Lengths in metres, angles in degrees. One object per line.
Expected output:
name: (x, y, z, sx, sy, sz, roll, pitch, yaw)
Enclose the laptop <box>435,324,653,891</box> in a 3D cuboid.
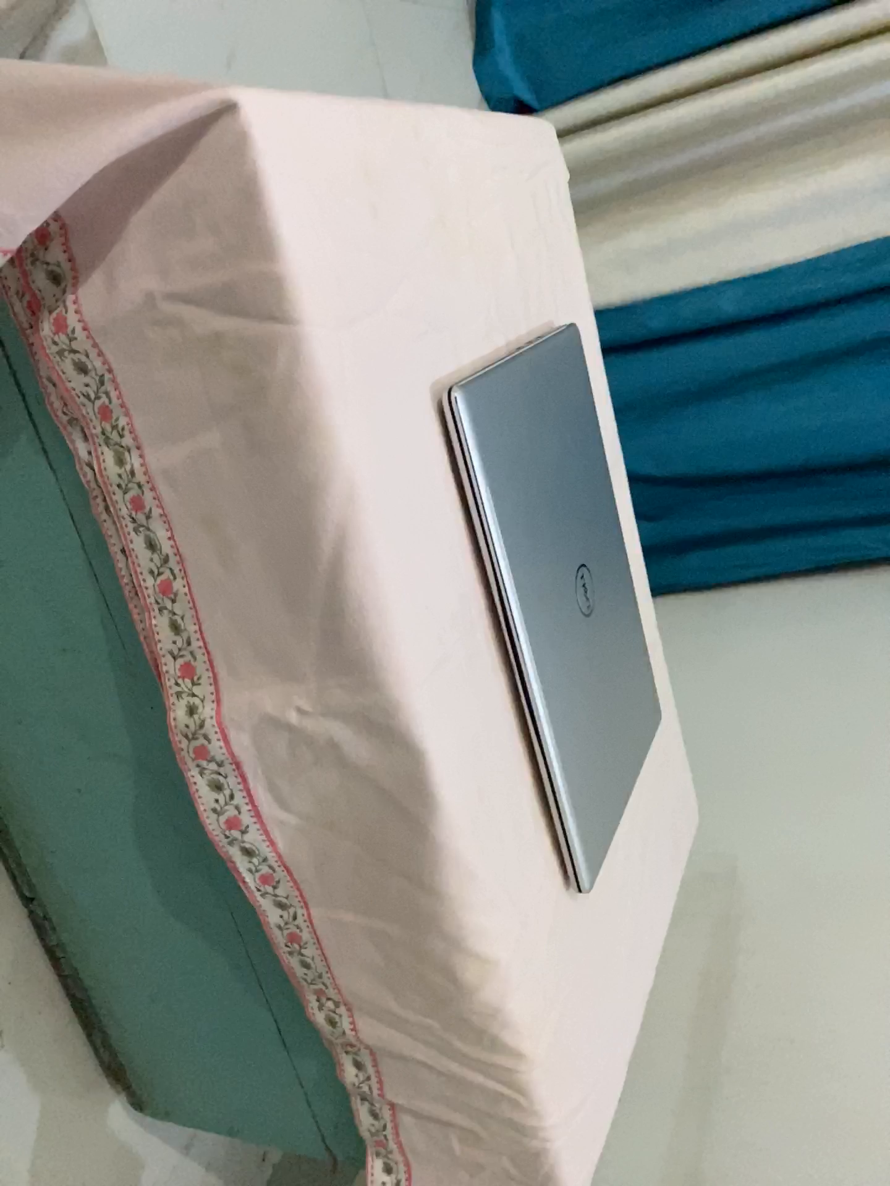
laptop: (0.092, -0.001, 0.675, 0.237, 0.004, 0.359, -44, 124, -54)
